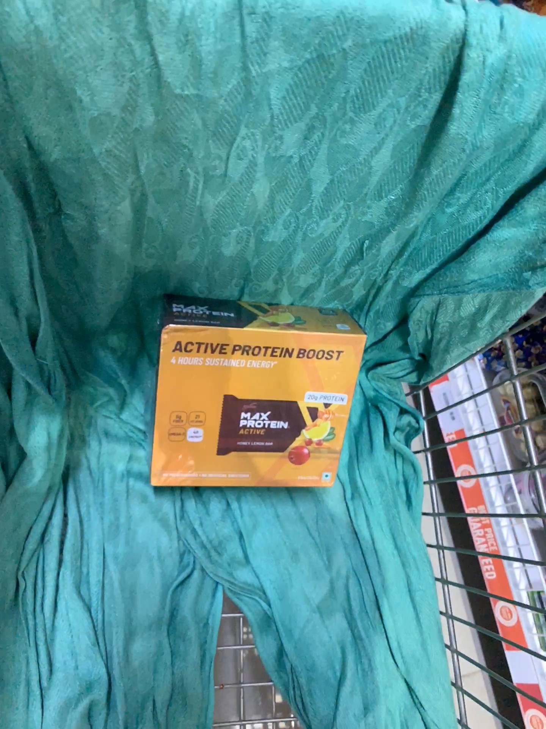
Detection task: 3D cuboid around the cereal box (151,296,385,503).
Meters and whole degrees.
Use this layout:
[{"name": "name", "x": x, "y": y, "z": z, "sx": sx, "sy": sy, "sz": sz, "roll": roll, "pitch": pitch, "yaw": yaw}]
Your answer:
[{"name": "cereal box", "x": -0.013, "y": 0.029, "z": 0.455, "sx": 0.160, "sy": 0.080, "sz": 0.140, "roll": 3, "pitch": 111, "yaw": -12}]
